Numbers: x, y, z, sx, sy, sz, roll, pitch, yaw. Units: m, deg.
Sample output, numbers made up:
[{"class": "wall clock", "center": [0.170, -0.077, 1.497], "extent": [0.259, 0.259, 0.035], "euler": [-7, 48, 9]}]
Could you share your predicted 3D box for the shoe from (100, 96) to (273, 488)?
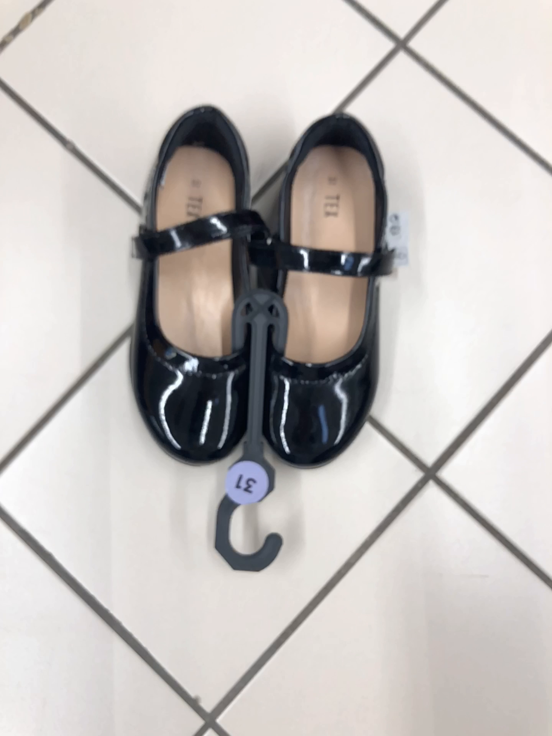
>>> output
[{"class": "shoe", "center": [-0.045, -0.040, 0.348], "extent": [0.079, 0.056, 0.204], "euler": [2, 84, 2]}]

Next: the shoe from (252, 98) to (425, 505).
[{"class": "shoe", "center": [0.034, -0.036, 0.347], "extent": [0.079, 0.052, 0.210], "euler": [3, 84, 2]}]
